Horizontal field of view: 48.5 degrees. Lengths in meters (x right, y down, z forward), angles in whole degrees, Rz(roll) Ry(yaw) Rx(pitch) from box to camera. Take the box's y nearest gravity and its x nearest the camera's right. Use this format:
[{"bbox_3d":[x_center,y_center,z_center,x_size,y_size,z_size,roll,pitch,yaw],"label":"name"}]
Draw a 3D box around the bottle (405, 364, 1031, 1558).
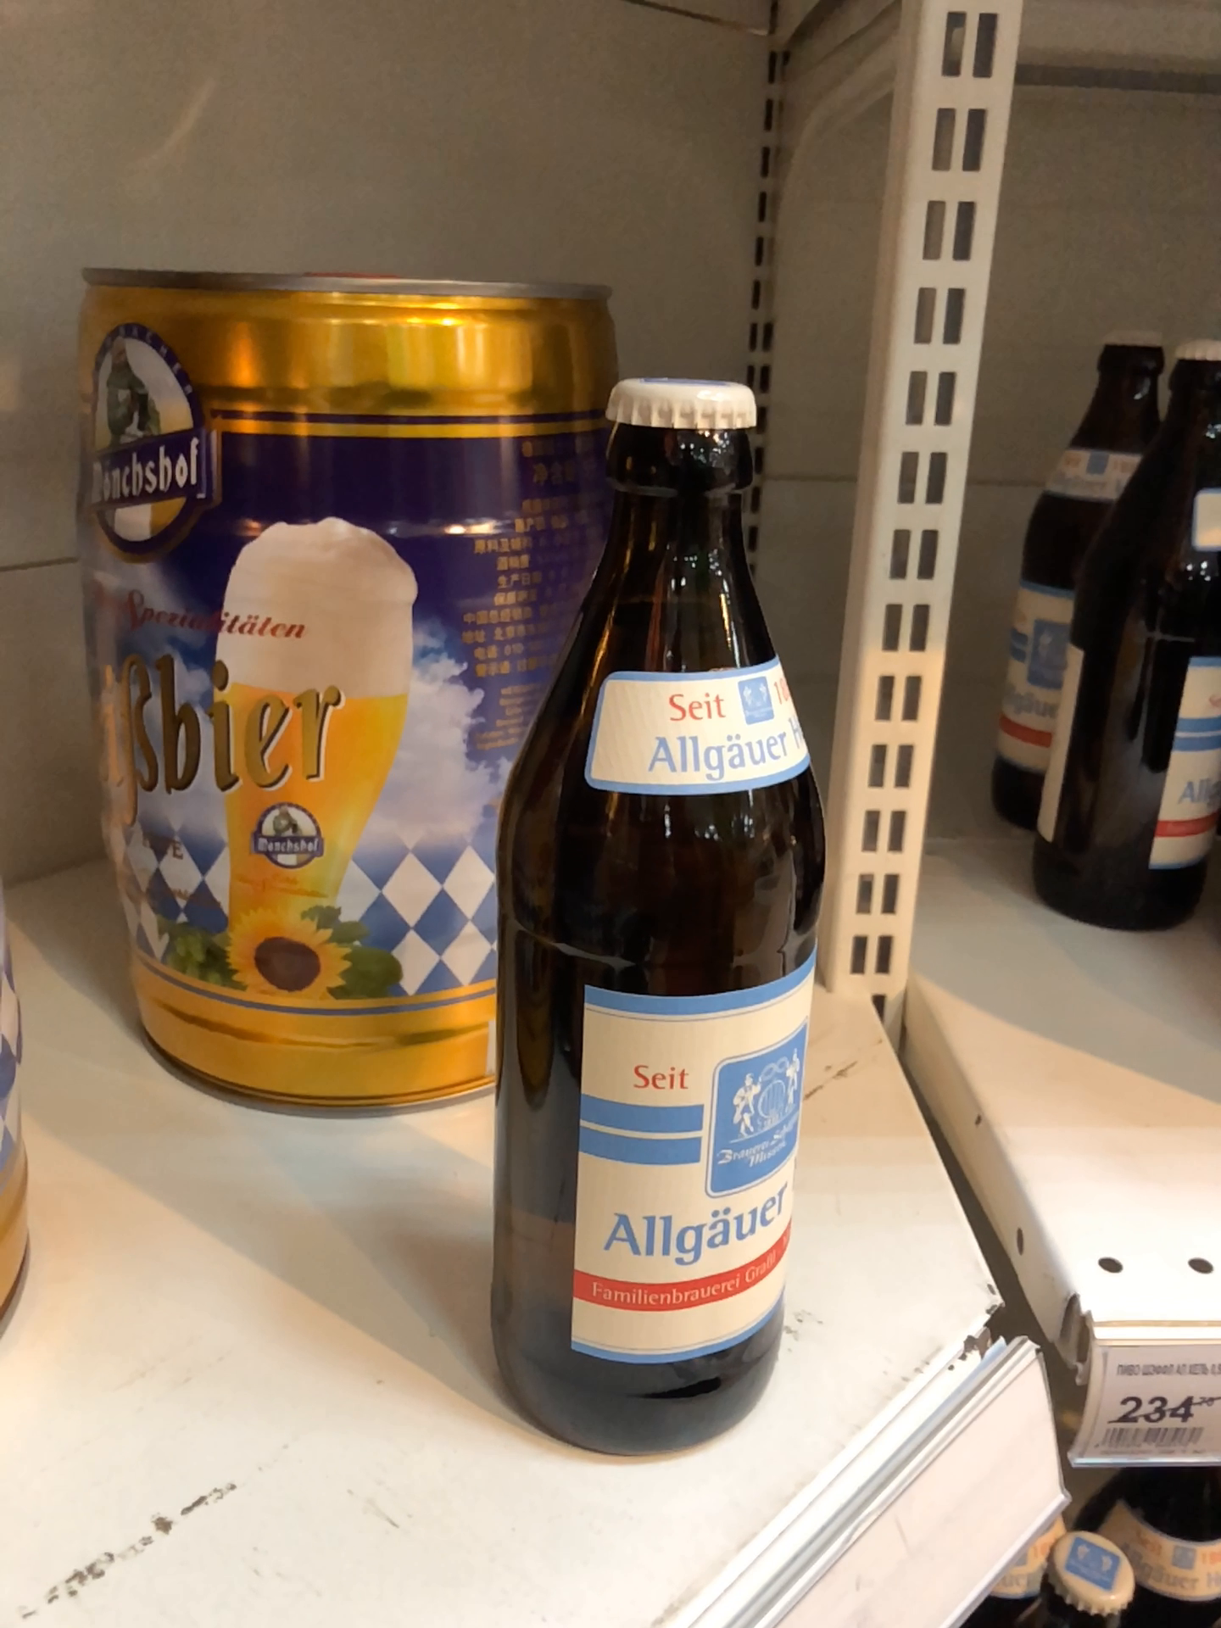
[{"bbox_3d":[0.016,0.024,0.283,0.080,0.219,0.080,2,21,-1],"label":"bottle"}]
